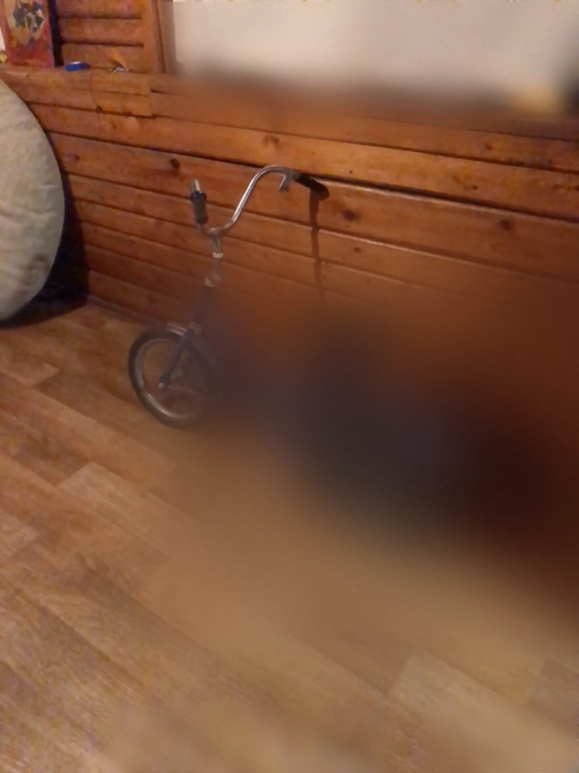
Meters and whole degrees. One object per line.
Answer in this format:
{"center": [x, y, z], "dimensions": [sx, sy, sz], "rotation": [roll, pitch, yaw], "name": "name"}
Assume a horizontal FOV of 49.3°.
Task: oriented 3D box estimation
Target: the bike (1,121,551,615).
{"center": [-0.033, -0.131, 1.513], "dimensions": [0.958, 0.697, 0.595], "rotation": [24, 42, 30], "name": "bike"}
